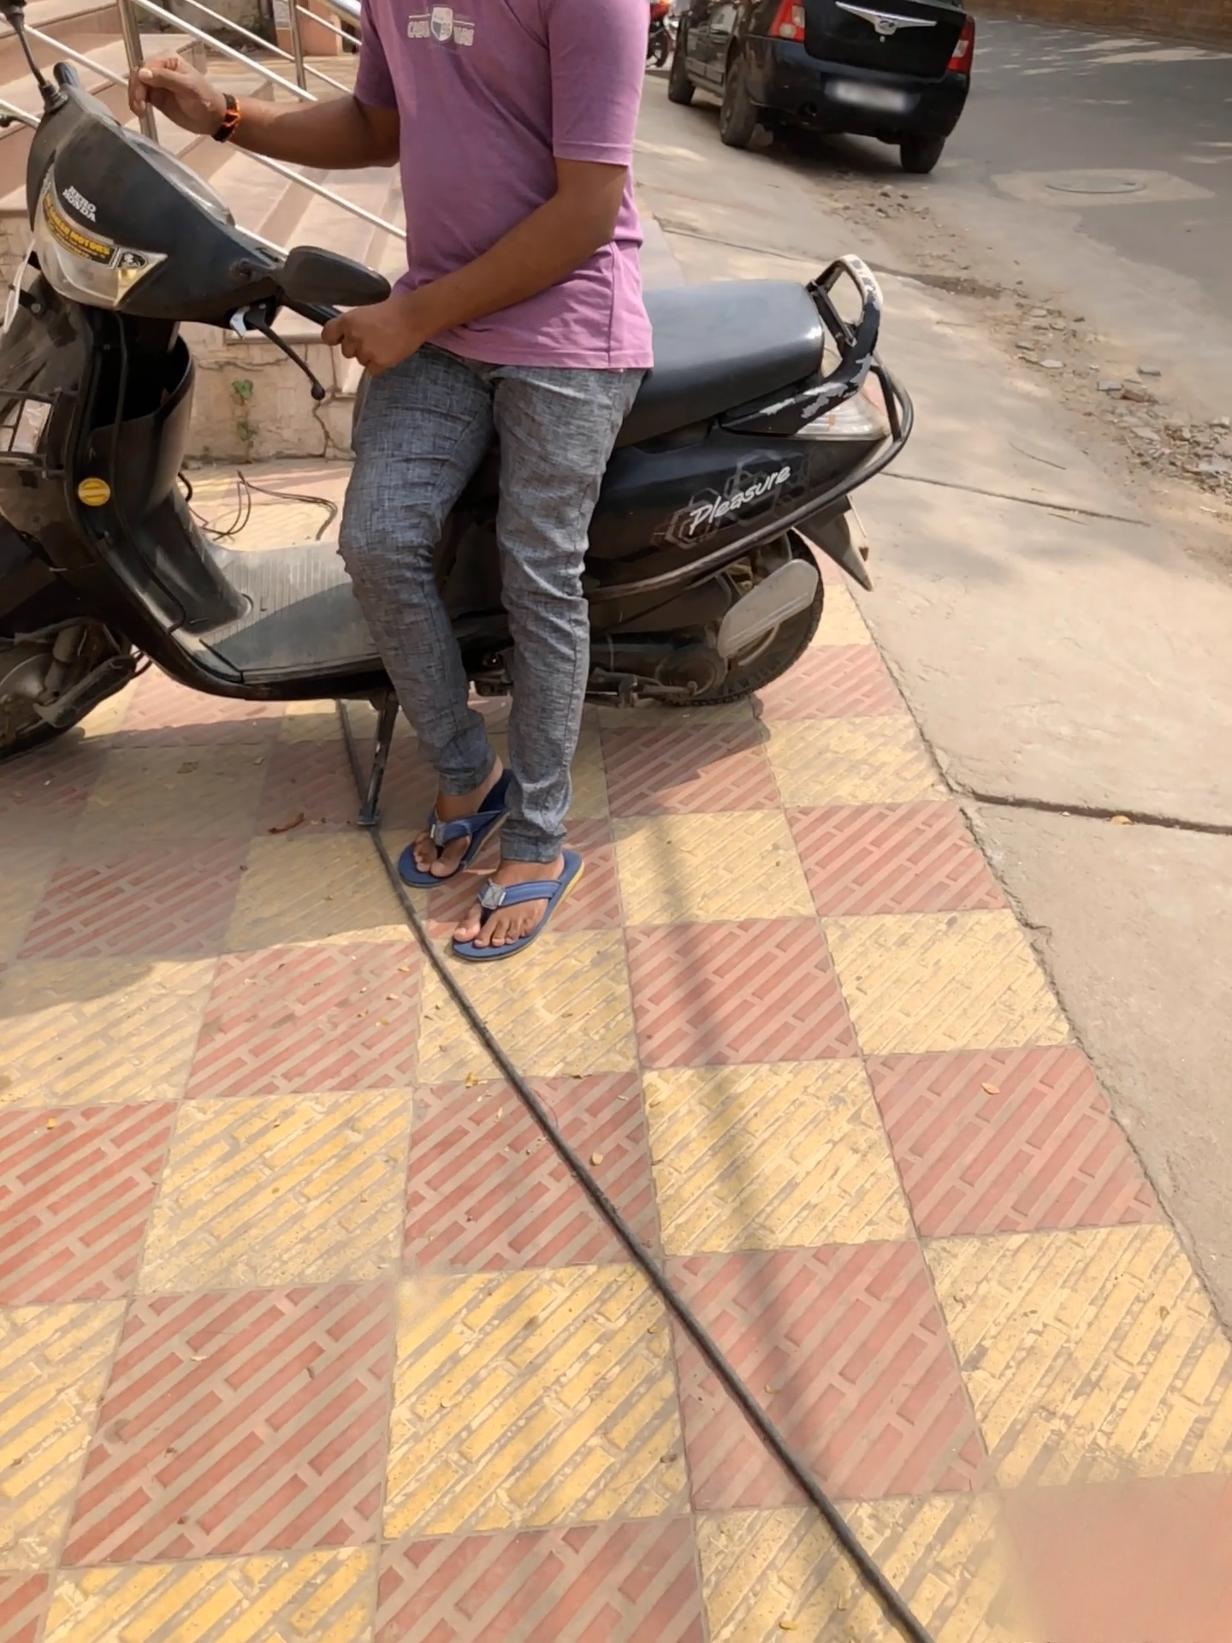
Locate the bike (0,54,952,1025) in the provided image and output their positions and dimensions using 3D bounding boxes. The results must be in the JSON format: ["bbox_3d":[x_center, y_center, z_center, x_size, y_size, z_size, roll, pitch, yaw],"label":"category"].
[{"bbox_3d":[-0.407,-0.470,2.021,1.596,1.116,0.638,-8,34,-12],"label":"bike"}]
